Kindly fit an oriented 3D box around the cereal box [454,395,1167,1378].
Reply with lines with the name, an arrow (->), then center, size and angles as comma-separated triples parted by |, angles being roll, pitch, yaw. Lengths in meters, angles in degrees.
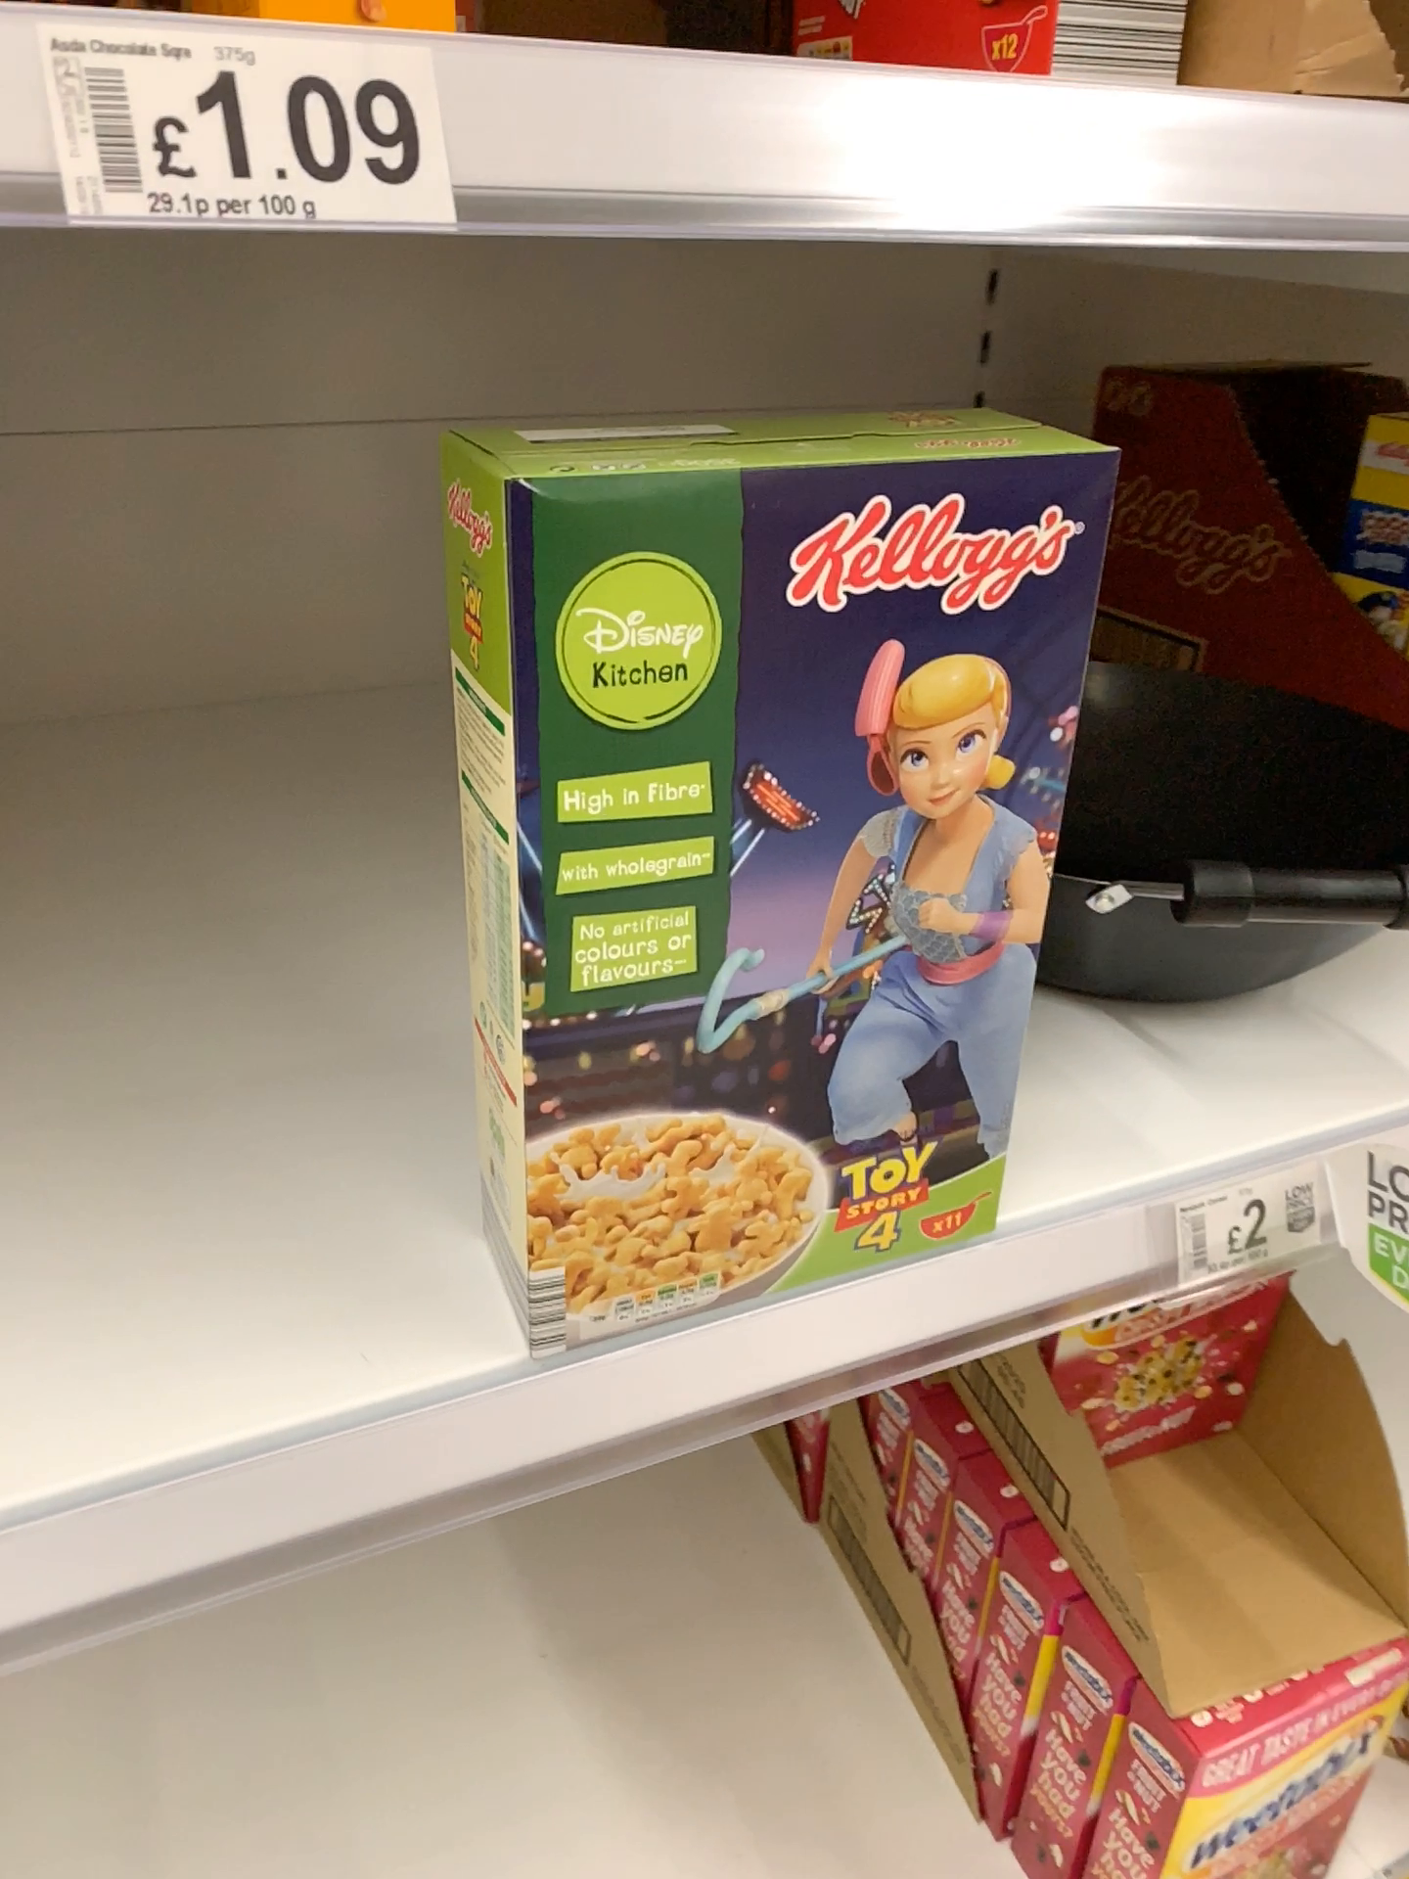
cereal box -> 0.026, -0.018, 0.486 | 0.190, 0.297, 0.081 | -9, 29, -21
